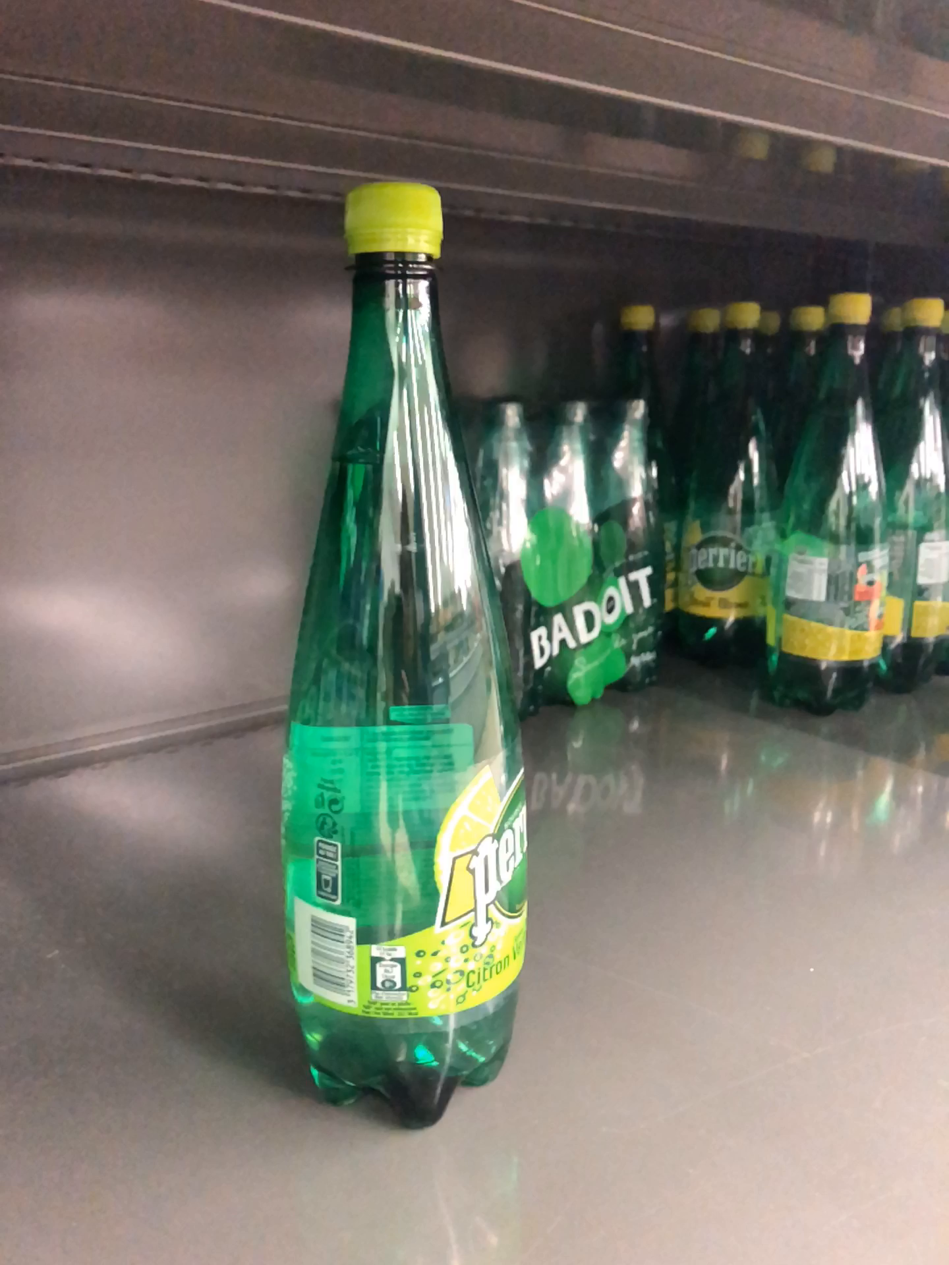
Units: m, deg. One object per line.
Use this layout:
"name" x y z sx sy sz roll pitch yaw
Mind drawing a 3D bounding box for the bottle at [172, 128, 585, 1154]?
"bottle" -0.024 0.004 0.361 0.090 0.299 0.100 6 14 24
